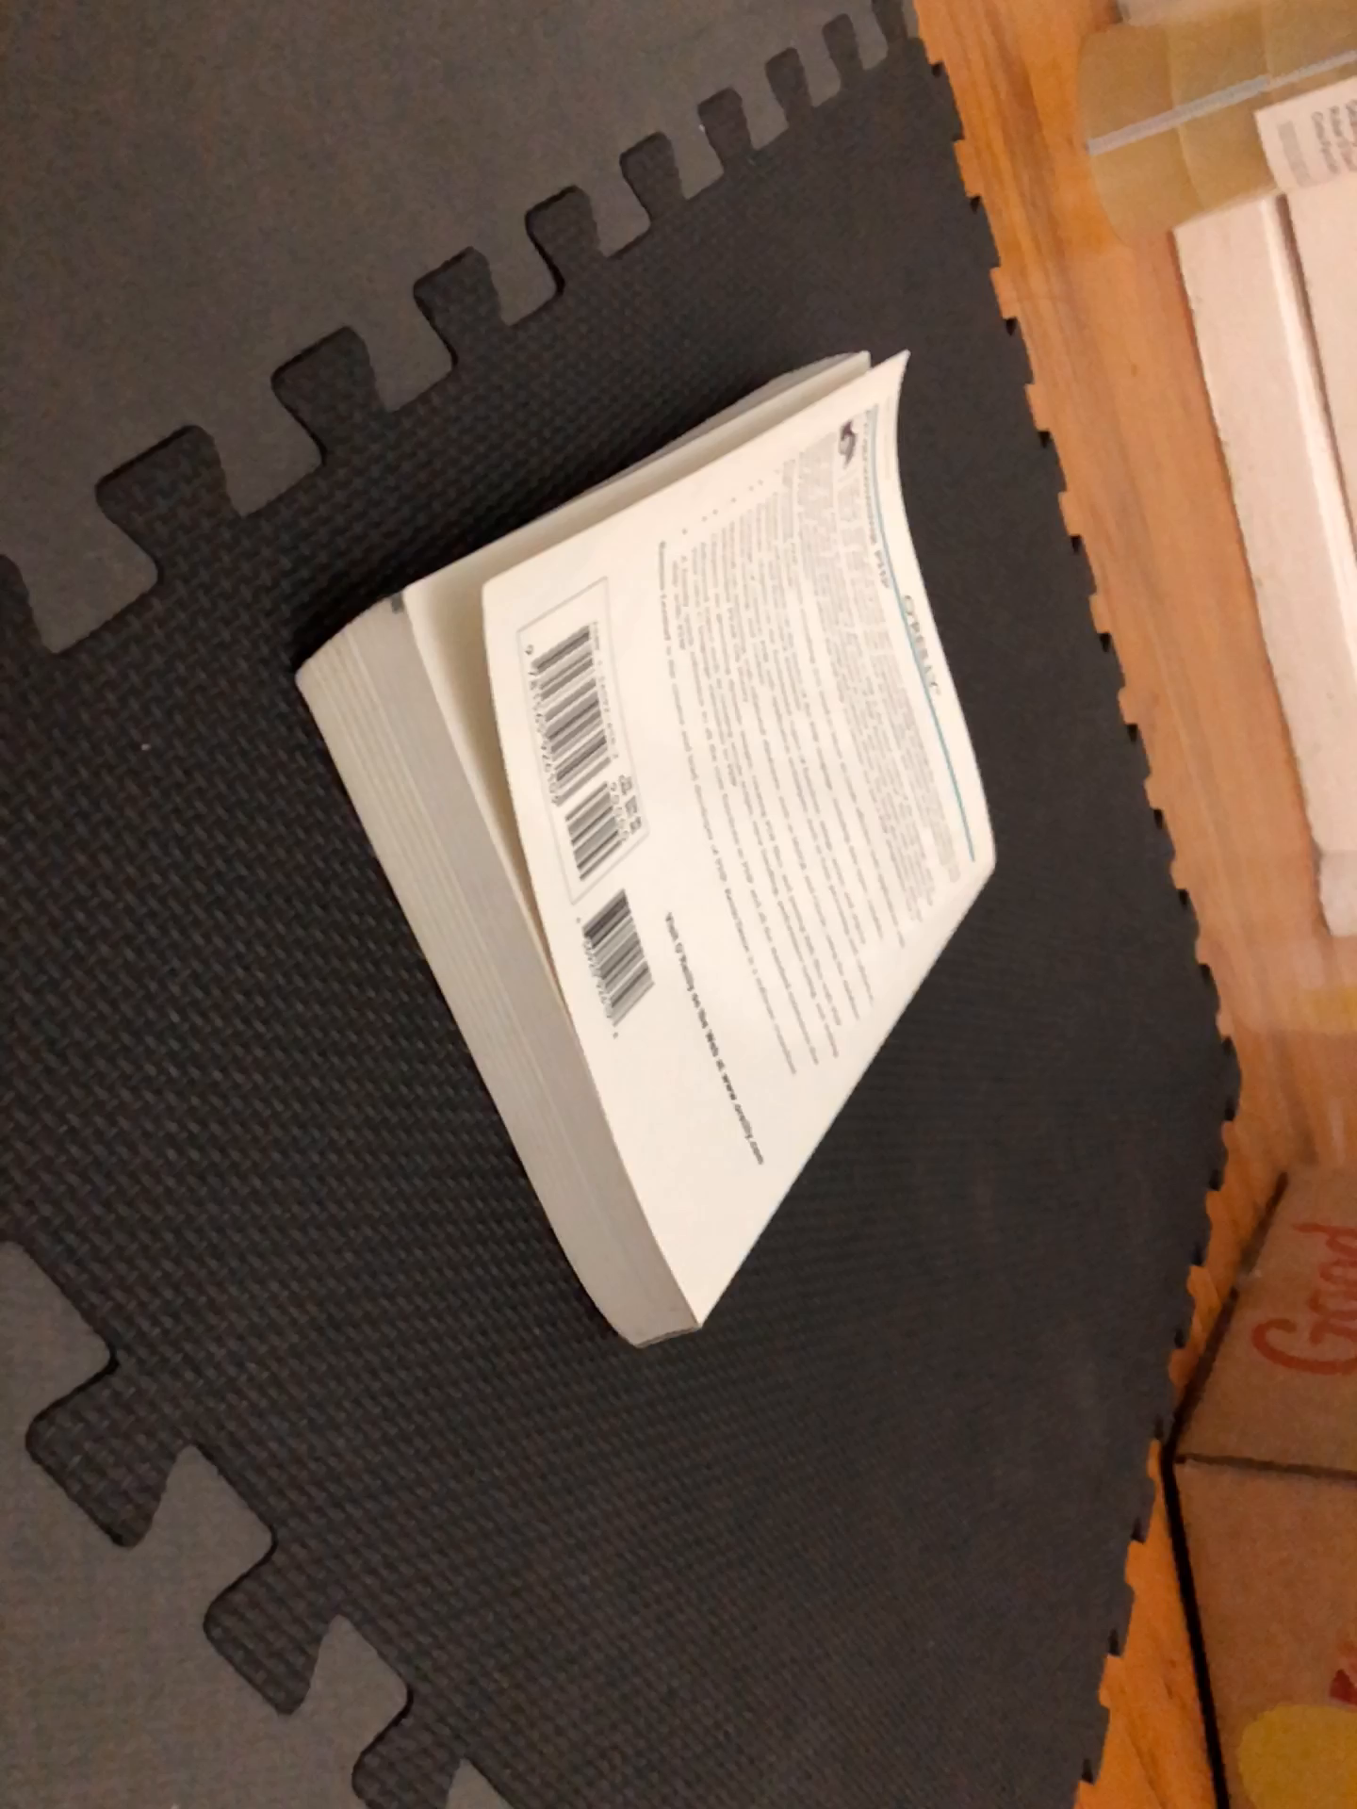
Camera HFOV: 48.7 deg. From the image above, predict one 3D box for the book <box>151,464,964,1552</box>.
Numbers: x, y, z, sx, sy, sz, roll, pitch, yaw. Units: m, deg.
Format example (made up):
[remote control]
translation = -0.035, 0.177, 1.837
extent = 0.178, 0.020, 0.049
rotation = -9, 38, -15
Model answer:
[book]
translation = -0.002, 0.009, 0.490
extent = 0.292, 0.040, 0.230
rotation = -44, 122, -49
